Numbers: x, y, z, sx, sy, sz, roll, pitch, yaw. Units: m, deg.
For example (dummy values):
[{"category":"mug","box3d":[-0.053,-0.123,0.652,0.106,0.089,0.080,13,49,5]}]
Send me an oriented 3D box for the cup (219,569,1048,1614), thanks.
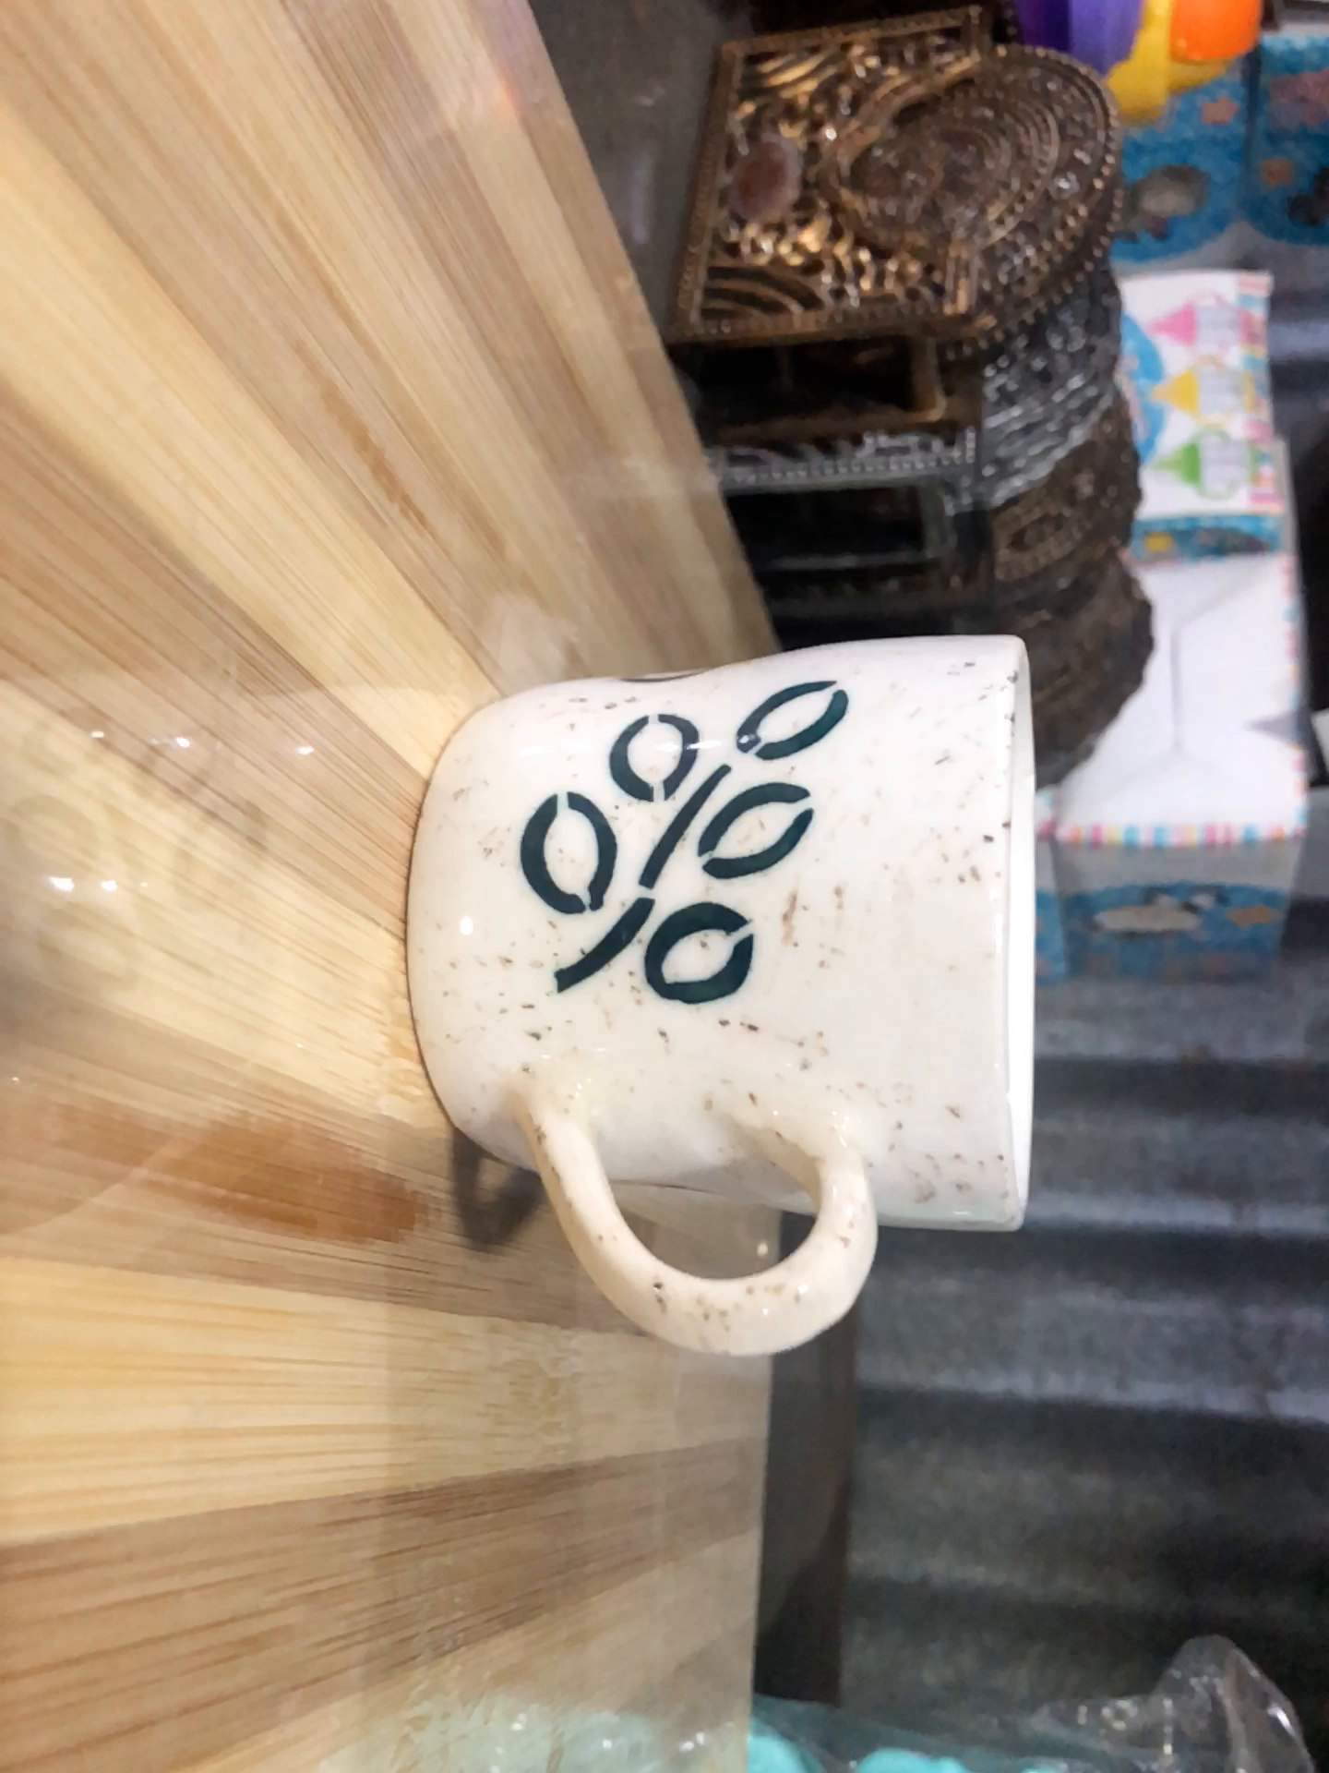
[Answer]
[{"category":"cup","box3d":[0.010,0.023,0.181,0.080,0.070,0.090,76,20,-45]}]
